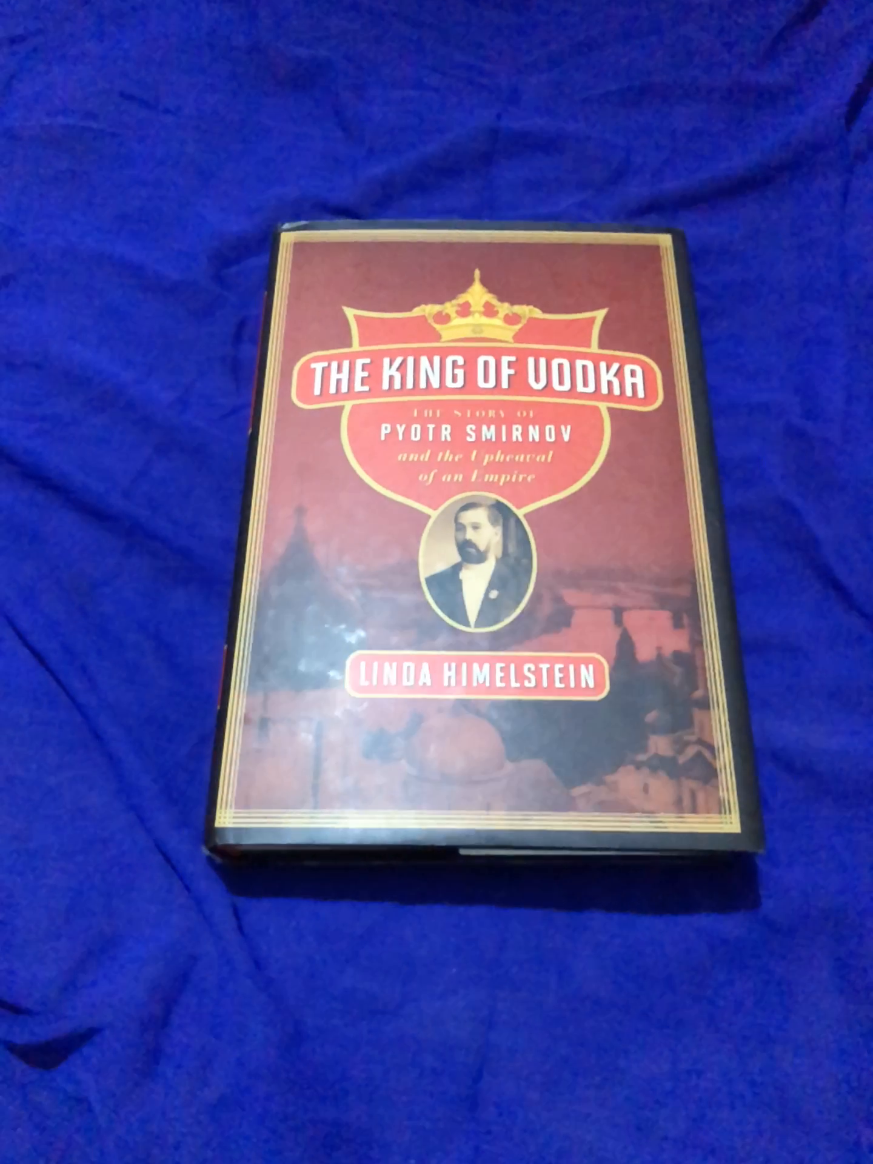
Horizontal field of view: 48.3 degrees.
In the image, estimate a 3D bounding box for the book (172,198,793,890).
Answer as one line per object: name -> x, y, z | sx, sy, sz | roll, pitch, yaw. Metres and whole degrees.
book -> 0.012, -0.025, 0.345 | 0.170, 0.050, 0.250 | 0, 64, 0
